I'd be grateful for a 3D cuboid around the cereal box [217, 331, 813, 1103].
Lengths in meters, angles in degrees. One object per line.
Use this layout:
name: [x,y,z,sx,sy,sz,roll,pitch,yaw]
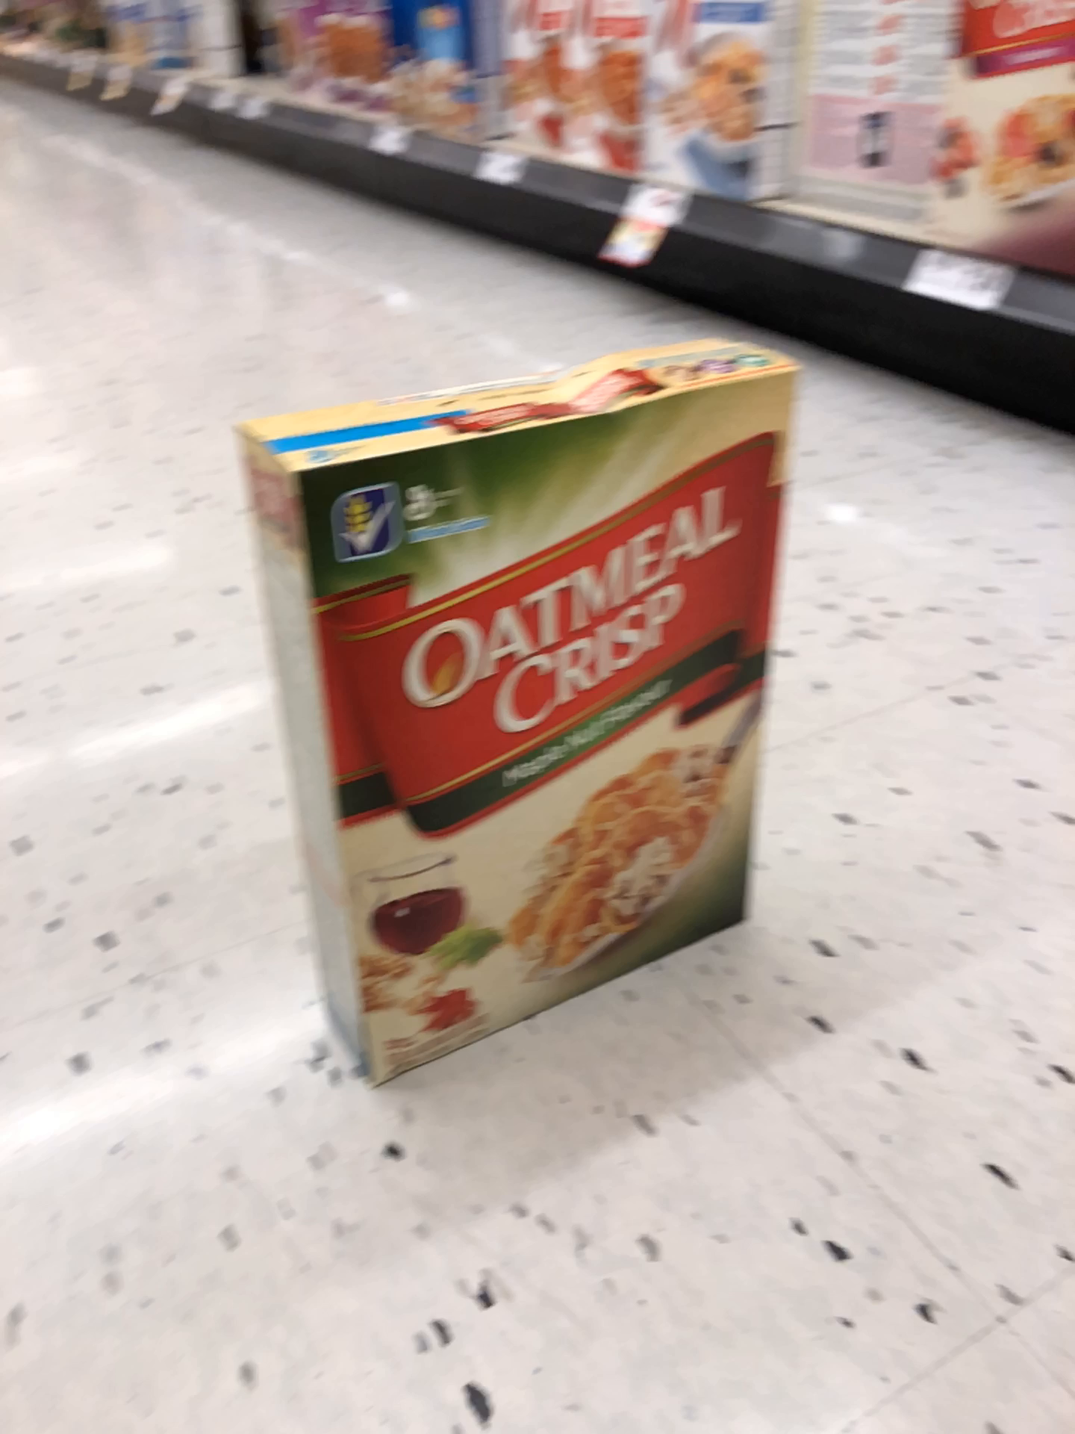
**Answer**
cereal box: [0.000,0.001,0.461,0.200,0.258,0.050,-18,35,-26]
